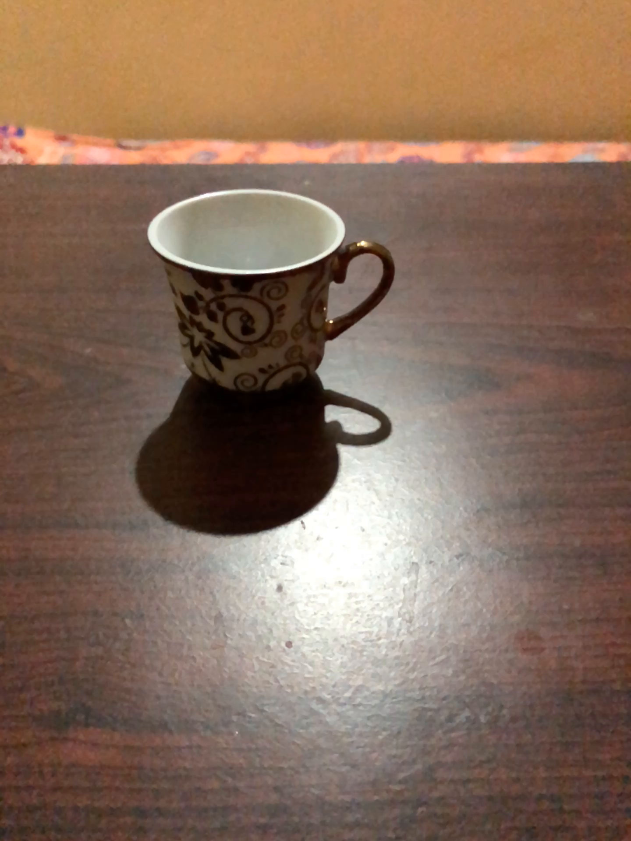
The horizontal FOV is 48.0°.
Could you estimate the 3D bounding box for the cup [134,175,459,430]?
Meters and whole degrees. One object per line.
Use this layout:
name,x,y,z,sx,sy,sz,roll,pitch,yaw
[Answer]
cup,-0.009,-0.043,0.237,0.090,0.050,0.070,-6,39,-7
